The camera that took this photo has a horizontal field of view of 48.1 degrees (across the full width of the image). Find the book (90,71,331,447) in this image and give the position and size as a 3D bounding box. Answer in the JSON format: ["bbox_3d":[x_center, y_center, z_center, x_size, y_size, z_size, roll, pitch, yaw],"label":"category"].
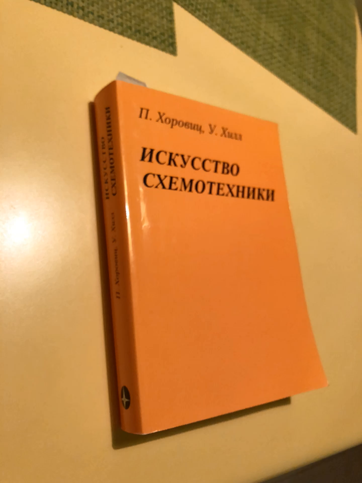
[{"bbox_3d":[0.025,0.008,0.321,0.171,0.048,0.238,2,76,-35],"label":"book"}]
